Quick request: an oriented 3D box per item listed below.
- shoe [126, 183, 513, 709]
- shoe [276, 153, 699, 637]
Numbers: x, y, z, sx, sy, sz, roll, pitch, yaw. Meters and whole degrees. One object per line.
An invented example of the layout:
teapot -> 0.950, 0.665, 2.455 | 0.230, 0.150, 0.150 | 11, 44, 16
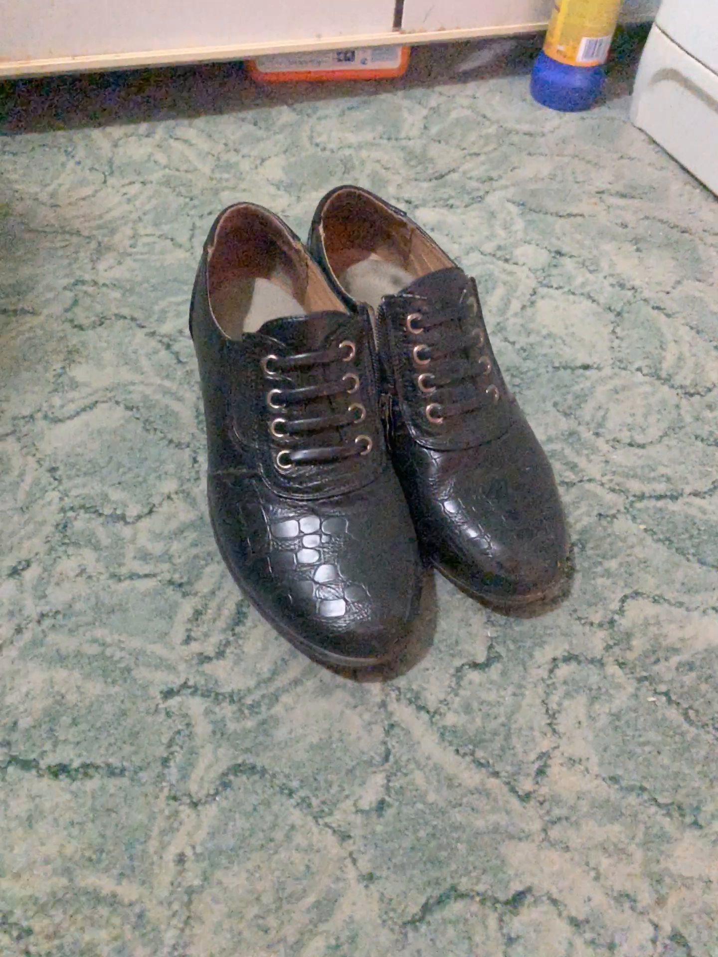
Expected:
shoe -> -0.034, -0.026, 0.362 | 0.090, 0.119, 0.221 | -16, 54, -18
shoe -> 0.041, -0.051, 0.378 | 0.090, 0.119, 0.211 | -19, 55, -20
